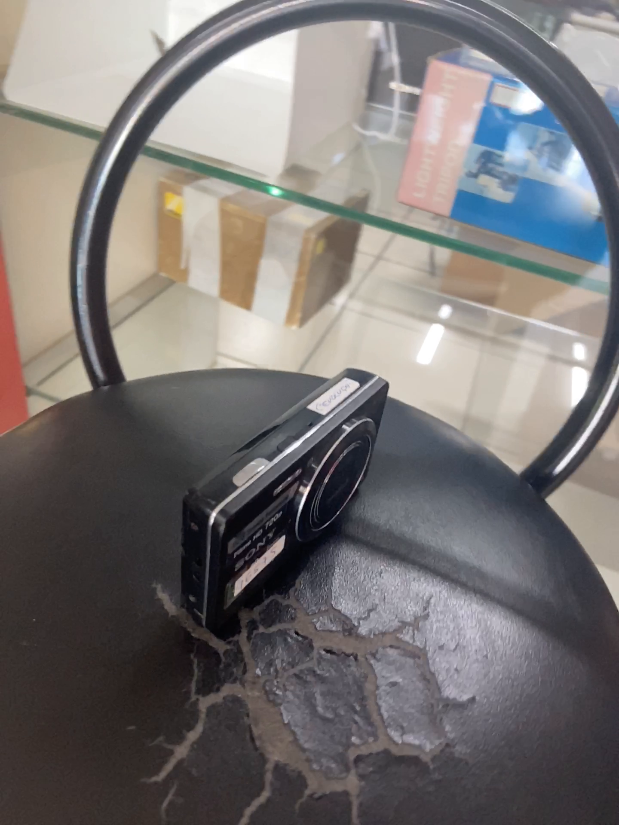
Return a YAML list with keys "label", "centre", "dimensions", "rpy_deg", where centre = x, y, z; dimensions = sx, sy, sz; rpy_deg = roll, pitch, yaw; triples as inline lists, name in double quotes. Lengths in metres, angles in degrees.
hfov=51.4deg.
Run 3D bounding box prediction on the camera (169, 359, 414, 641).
- label: "camera"
  centre: [-0.004, 0.025, 0.222]
  dimensions: [0.024, 0.051, 0.097]
  rpy_deg: [30, 41, 24]
